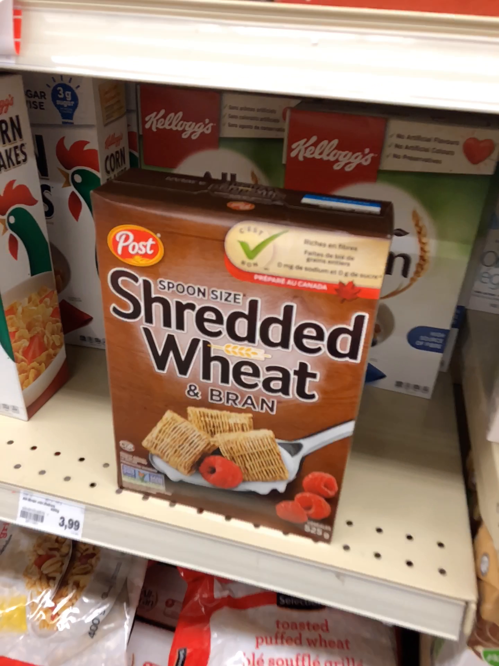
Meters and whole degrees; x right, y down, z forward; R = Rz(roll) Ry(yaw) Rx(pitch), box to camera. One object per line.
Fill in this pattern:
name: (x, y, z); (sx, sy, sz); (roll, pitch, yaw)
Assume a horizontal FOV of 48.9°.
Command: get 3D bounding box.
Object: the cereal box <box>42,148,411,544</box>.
cereal box: (-0.017, 0.014, 0.394); (0.210, 0.248, 0.071); (11, 32, 12)
